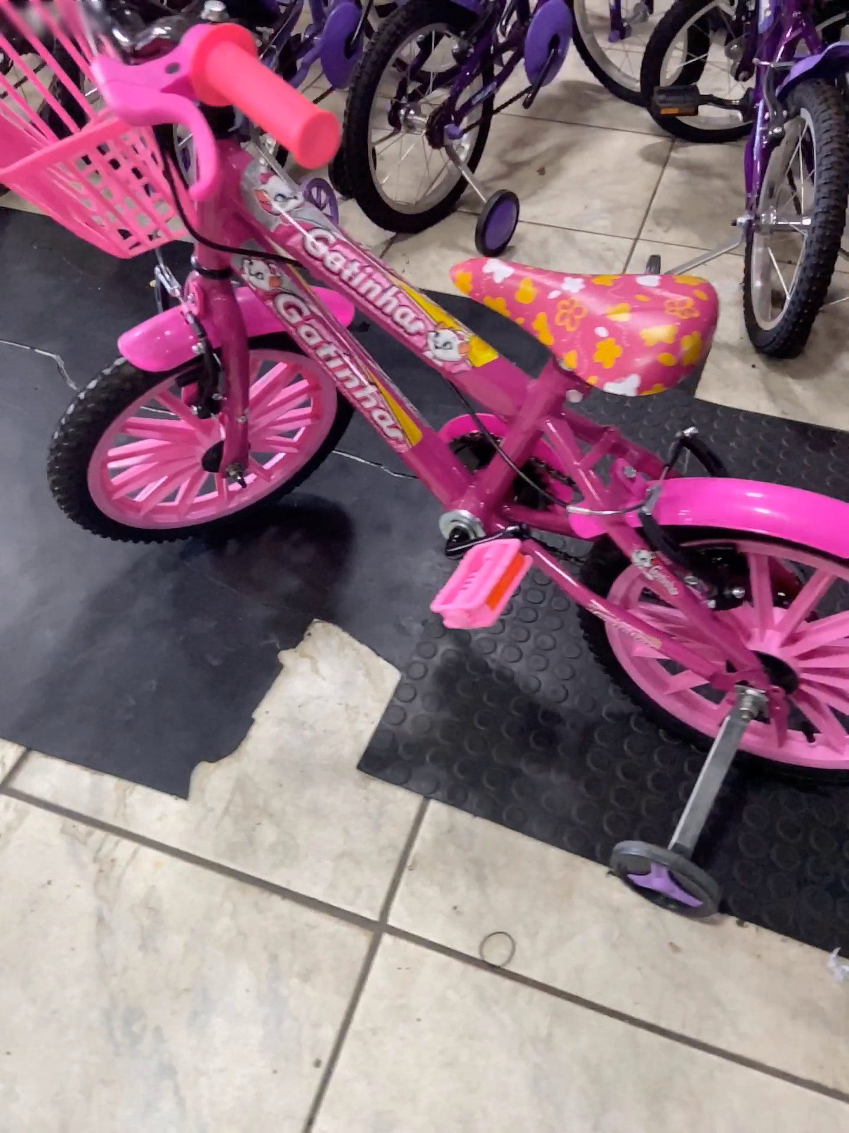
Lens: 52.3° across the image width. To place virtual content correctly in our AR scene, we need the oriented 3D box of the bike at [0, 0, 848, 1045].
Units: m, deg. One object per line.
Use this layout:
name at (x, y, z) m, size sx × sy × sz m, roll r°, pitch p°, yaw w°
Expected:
bike at (0.022, -0.094, 0.715) m, size 0.938 × 0.789 × 0.468 m, roll 14°, pitch 52°, yaw 15°
